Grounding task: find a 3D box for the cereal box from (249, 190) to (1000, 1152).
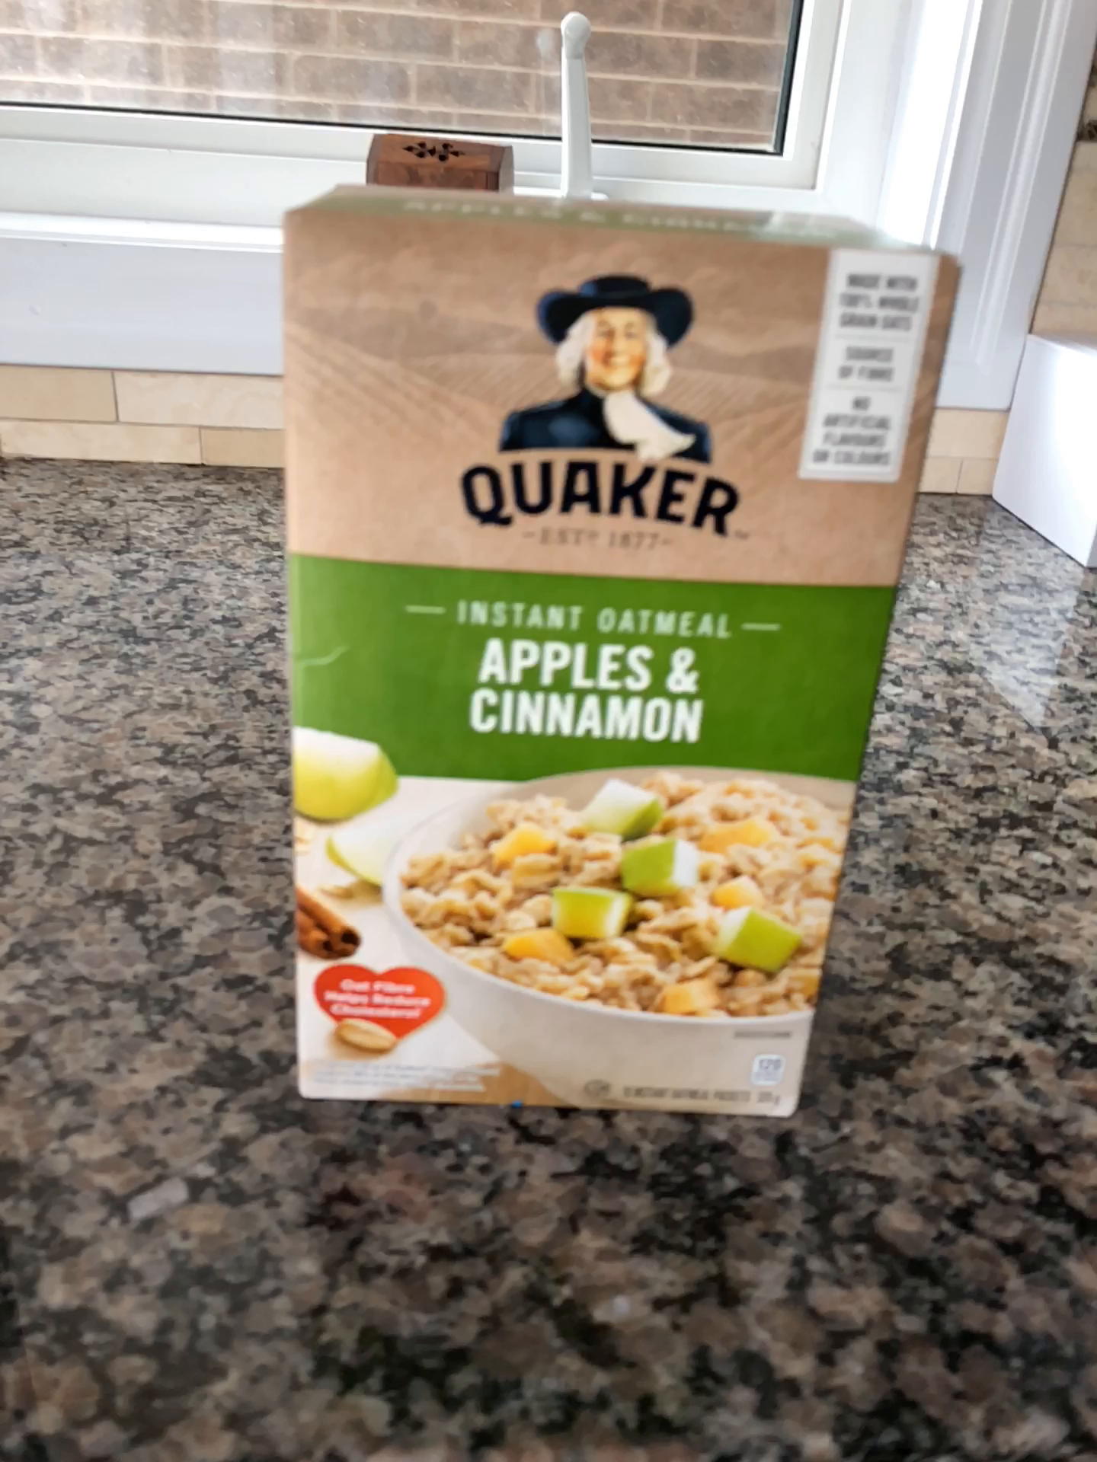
[{"bbox_3d":[0.007,-0.011,0.296,0.130,0.209,0.090,3,27,-2],"label":"cereal box"}]
